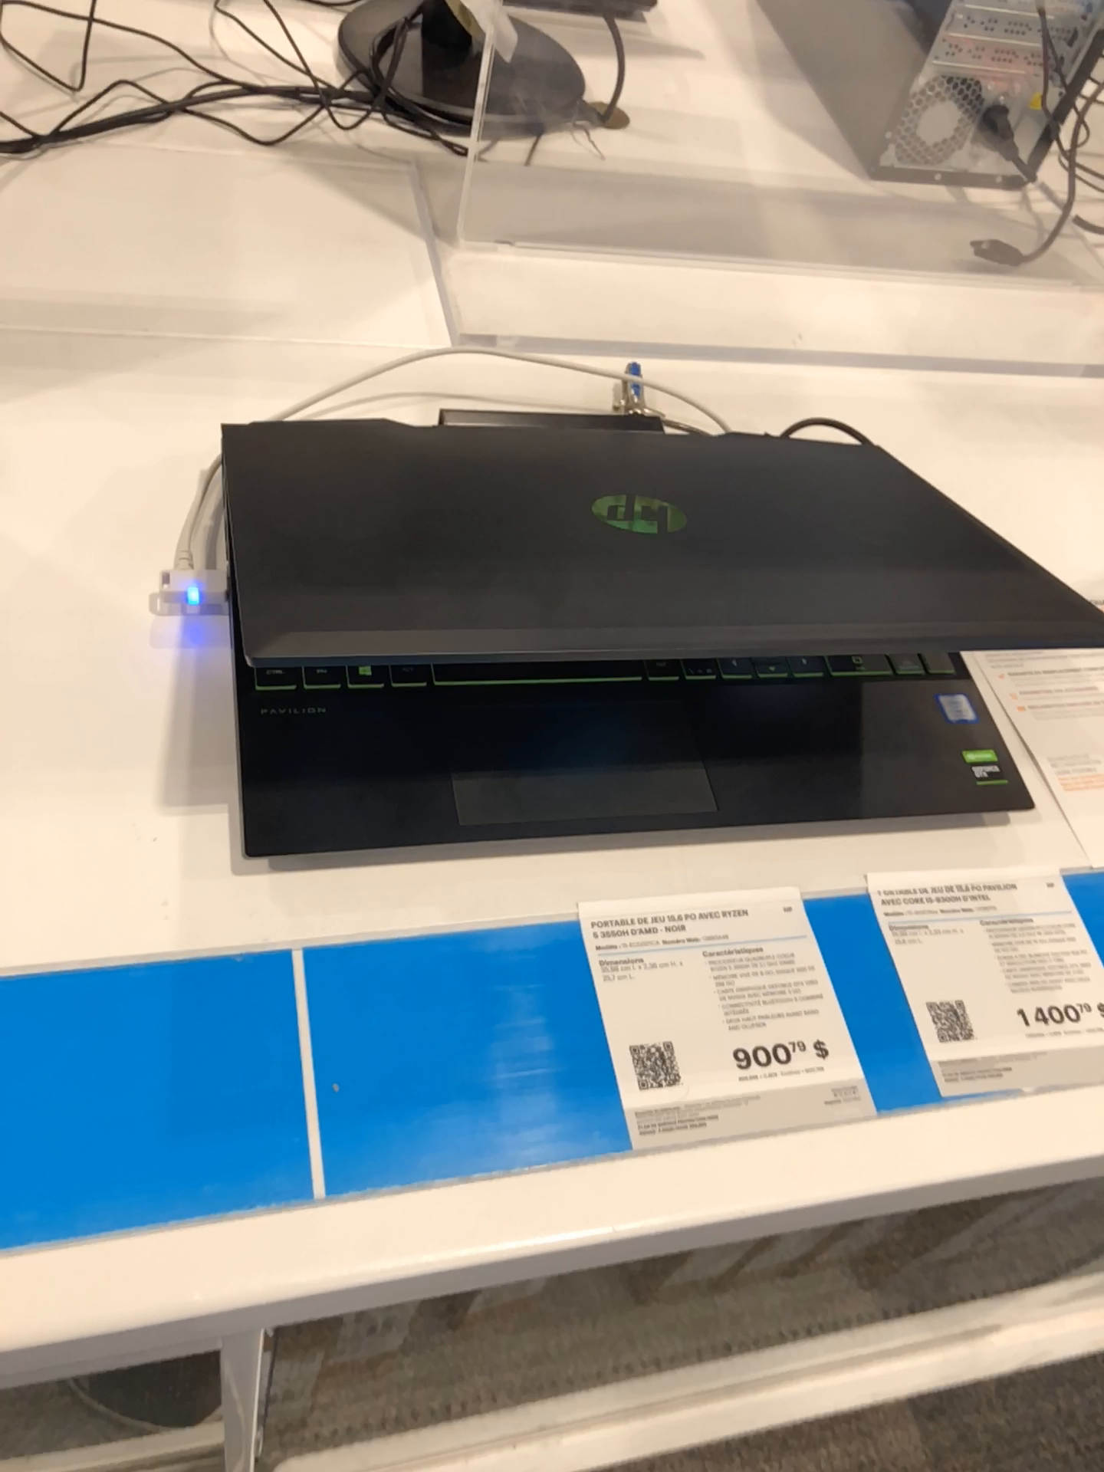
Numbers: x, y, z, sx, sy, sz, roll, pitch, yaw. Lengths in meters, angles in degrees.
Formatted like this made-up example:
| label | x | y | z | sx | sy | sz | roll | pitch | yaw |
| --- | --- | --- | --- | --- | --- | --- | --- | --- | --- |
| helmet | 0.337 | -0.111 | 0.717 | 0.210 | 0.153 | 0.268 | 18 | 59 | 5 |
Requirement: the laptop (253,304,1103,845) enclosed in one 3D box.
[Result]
| label | x | y | z | sx | sy | sz | roll | pitch | yaw |
| --- | --- | --- | --- | --- | --- | --- | --- | --- | --- |
| laptop | 0.046 | -0.080 | 0.547 | 0.339 | 0.064 | 0.221 | -3 | 59 | -17 |
